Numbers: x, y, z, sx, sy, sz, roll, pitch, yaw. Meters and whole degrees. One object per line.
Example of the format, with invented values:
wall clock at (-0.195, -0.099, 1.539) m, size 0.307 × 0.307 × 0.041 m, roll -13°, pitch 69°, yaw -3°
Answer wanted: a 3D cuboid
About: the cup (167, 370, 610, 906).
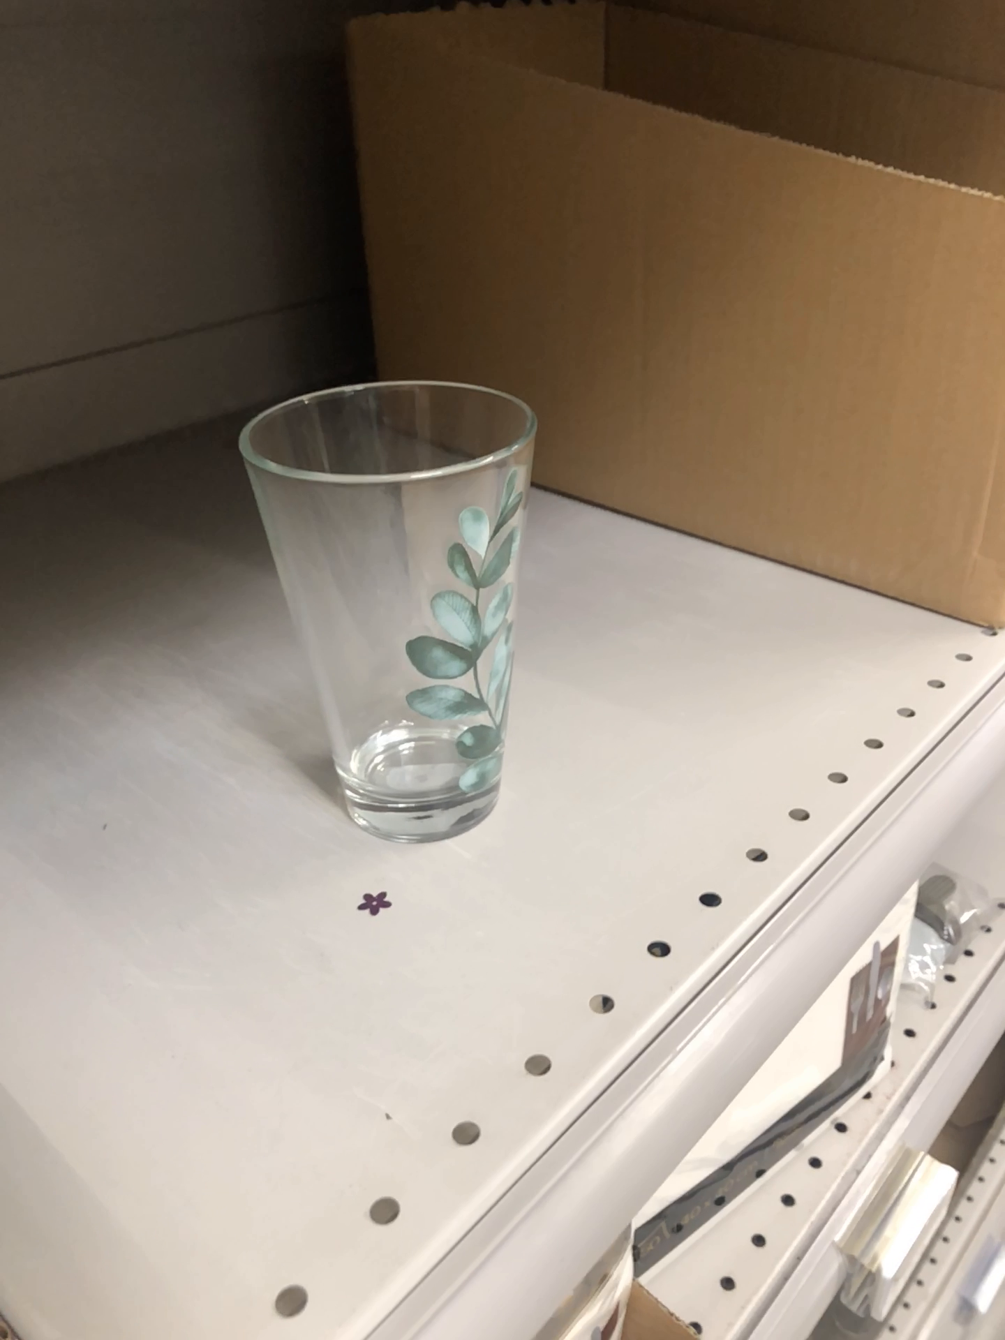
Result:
cup at (-0.028, -0.015, 0.324) m, size 0.083 × 0.114 × 0.083 m, roll -3°, pitch 29°, yaw 1°
